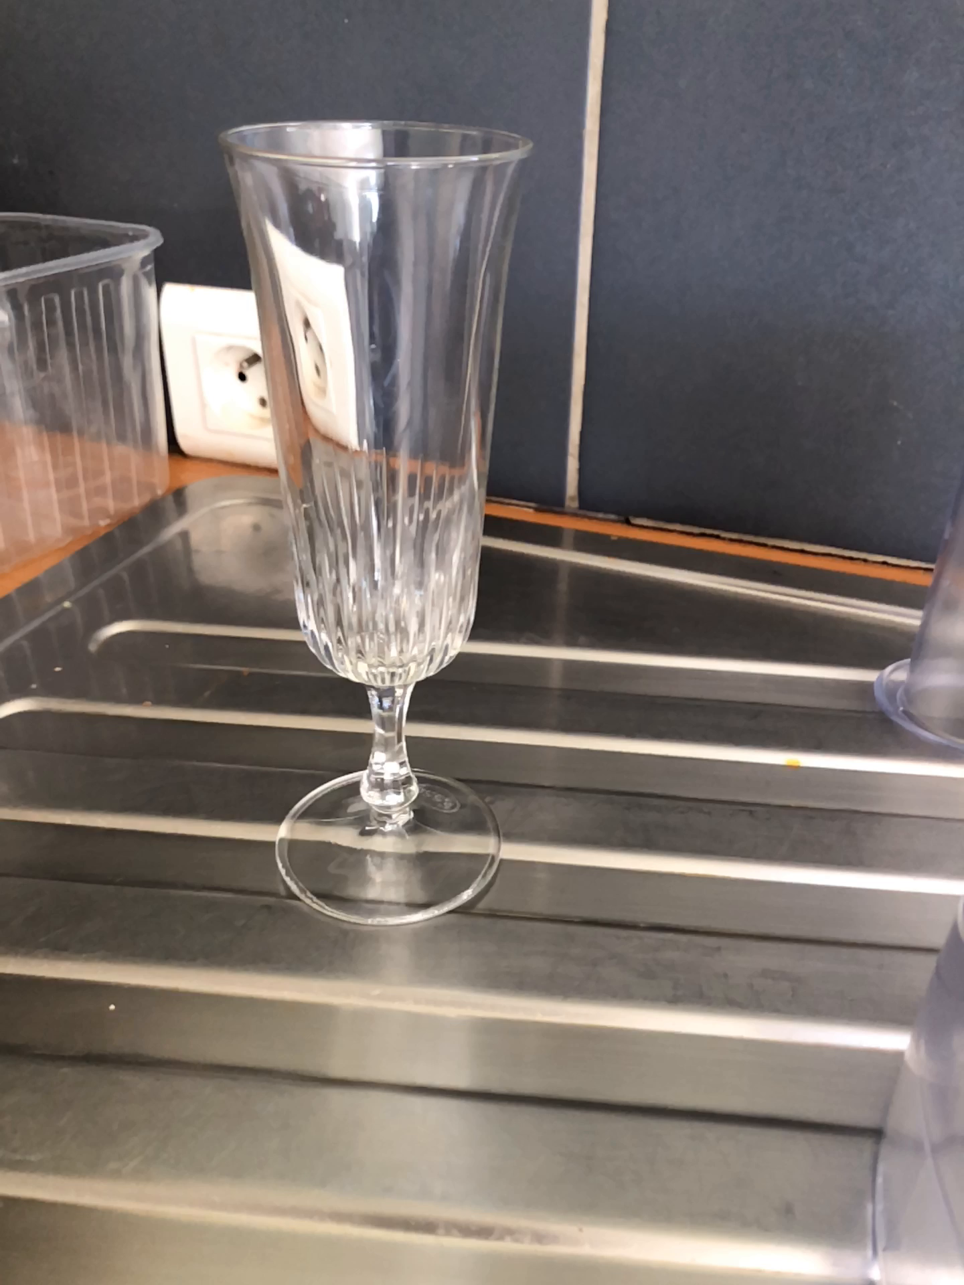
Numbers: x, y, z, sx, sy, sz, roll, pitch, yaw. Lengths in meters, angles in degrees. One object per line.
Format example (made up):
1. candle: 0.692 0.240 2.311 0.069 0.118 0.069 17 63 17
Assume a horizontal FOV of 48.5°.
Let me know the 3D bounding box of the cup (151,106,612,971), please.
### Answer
1. cup: -0.020 -0.021 0.235 0.060 0.169 0.060 1 30 0
